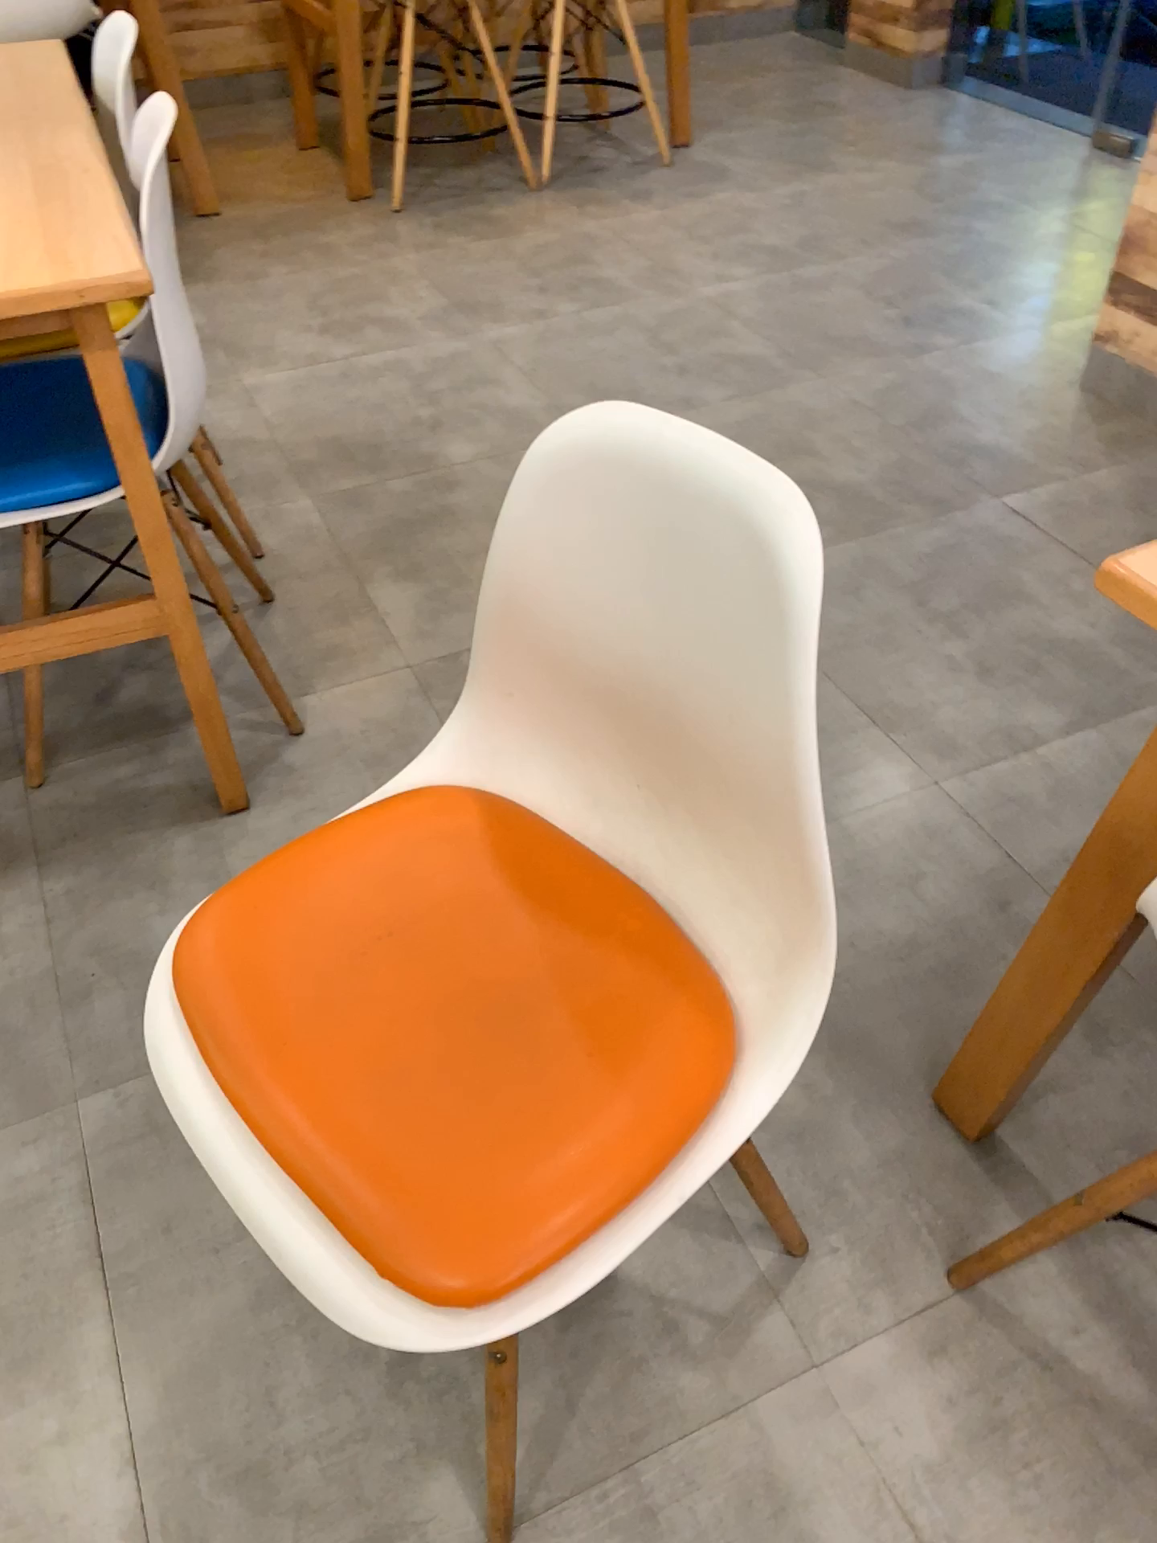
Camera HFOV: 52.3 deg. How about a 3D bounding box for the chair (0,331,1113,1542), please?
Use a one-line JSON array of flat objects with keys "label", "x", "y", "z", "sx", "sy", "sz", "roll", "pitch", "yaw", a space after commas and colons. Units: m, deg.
[{"label": "chair", "x": -0.043, "y": 0.147, "z": 0.896, "sx": 0.481, "sy": 0.704, "sz": 0.473, "roll": -28, "pitch": 48, "yaw": -27}]
